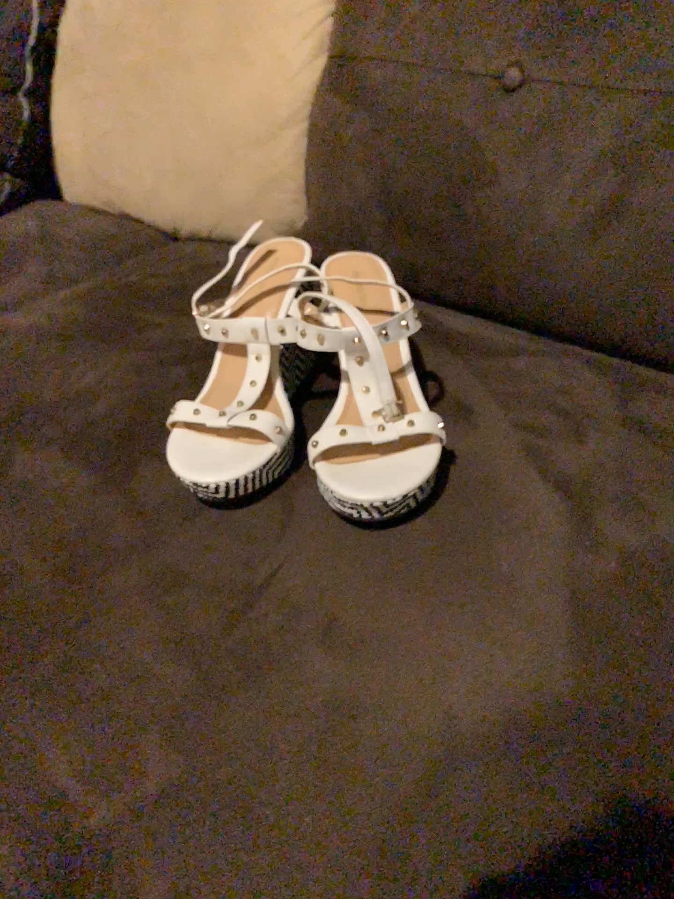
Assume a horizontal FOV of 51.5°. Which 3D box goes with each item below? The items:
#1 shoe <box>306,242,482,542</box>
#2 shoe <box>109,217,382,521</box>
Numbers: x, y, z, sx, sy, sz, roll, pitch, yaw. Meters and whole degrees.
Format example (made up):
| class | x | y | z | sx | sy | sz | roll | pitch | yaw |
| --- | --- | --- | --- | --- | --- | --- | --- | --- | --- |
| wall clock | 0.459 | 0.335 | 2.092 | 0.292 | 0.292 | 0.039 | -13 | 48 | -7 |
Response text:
| class | x | y | z | sx | sy | sz | roll | pitch | yaw |
| --- | --- | --- | --- | --- | --- | --- | --- | --- | --- |
| shoe | 0.032 | -0.058 | 0.530 | 0.100 | 0.099 | 0.251 | 2 | 39 | -1 |
| shoe | -0.054 | -0.081 | 0.557 | 0.110 | 0.099 | 0.261 | 13 | 41 | 12 |
